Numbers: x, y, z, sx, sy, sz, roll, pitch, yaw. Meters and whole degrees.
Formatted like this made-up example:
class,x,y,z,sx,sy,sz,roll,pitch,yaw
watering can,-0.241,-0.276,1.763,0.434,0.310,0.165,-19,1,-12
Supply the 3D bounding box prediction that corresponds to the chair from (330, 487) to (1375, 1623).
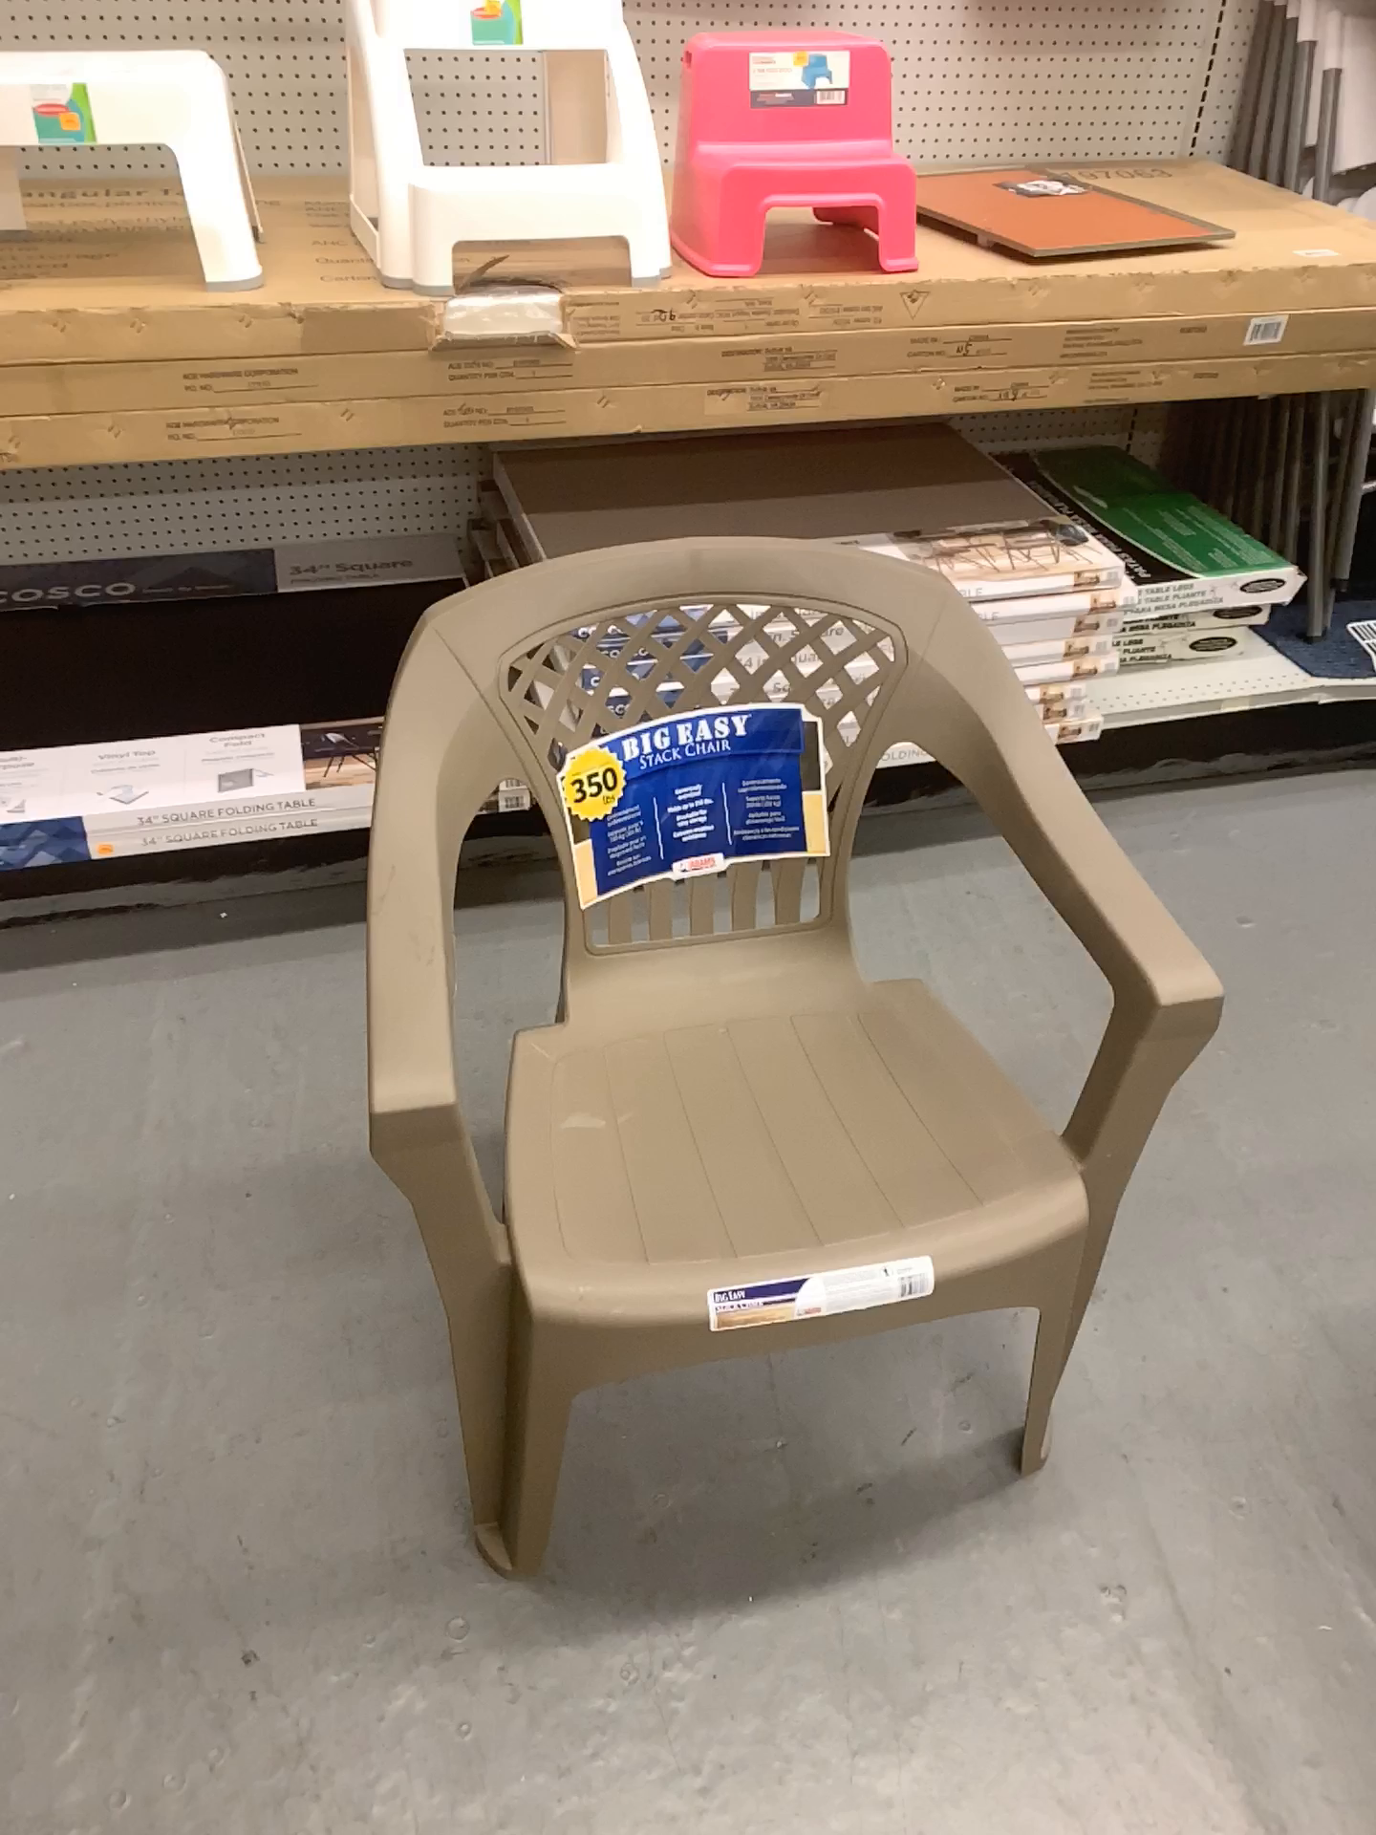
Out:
class,x,y,z,sx,sy,sz,roll,pitch,yaw
chair,0.091,0.123,1.403,0.766,0.878,0.590,-6,38,-11
